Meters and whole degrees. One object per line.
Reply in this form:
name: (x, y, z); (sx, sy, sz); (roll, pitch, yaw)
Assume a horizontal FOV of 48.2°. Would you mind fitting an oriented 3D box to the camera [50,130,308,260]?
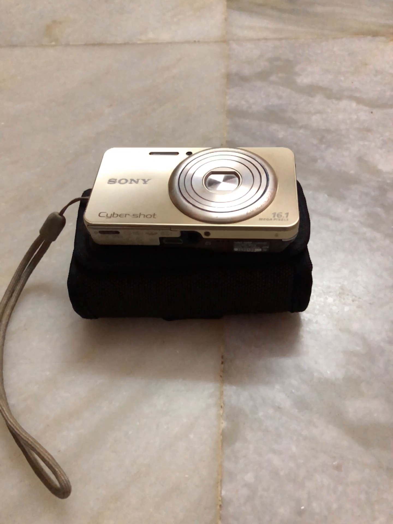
camera: (-0.006, -0.032, 0.196); (0.100, 0.020, 0.060); (2, 50, 4)
